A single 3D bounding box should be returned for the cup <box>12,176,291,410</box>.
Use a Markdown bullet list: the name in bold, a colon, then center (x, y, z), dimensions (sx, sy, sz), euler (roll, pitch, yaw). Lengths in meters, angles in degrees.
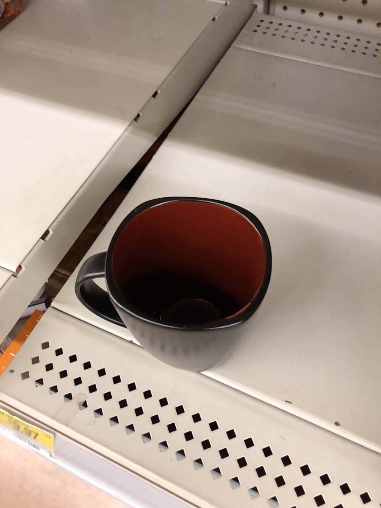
- **cup**: center (-0.014, 0.026, 0.267), dimensions (0.130, 0.100, 0.090), euler (9, 57, 10)
